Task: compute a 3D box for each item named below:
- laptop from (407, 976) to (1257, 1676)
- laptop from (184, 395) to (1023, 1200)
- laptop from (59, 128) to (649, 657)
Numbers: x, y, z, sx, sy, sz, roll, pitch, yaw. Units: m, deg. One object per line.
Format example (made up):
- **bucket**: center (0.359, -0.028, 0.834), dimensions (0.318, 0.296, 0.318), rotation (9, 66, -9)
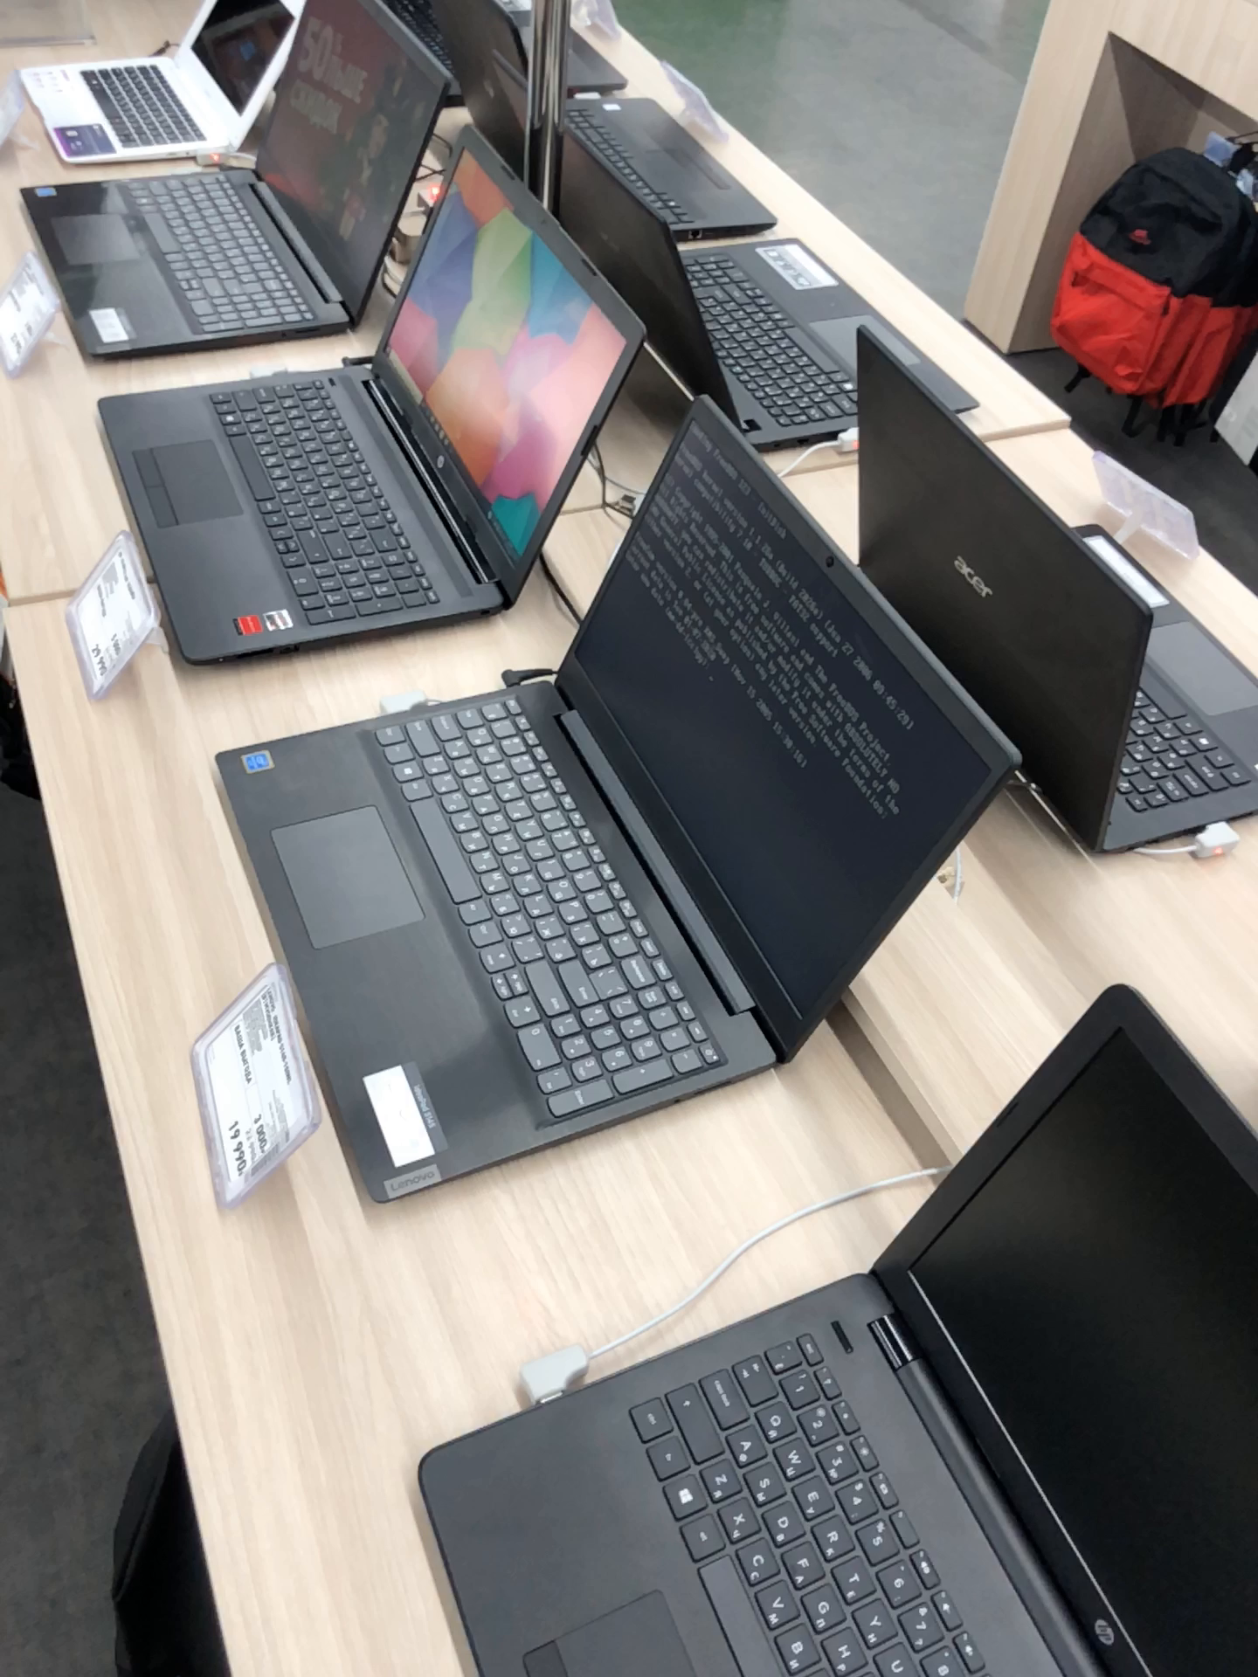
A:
- **laptop**: center (0.114, 0.287, 0.468), dimensions (0.297, 0.208, 0.338), rotation (-15, 51, -19)
- **laptop**: center (-0.039, -0.047, 0.774), dimensions (0.322, 0.210, 0.341), rotation (-15, 50, -19)
- **laptop**: center (-0.215, -0.352, 1.042), dimensions (0.320, 0.202, 0.352), rotation (-14, 50, -19)
